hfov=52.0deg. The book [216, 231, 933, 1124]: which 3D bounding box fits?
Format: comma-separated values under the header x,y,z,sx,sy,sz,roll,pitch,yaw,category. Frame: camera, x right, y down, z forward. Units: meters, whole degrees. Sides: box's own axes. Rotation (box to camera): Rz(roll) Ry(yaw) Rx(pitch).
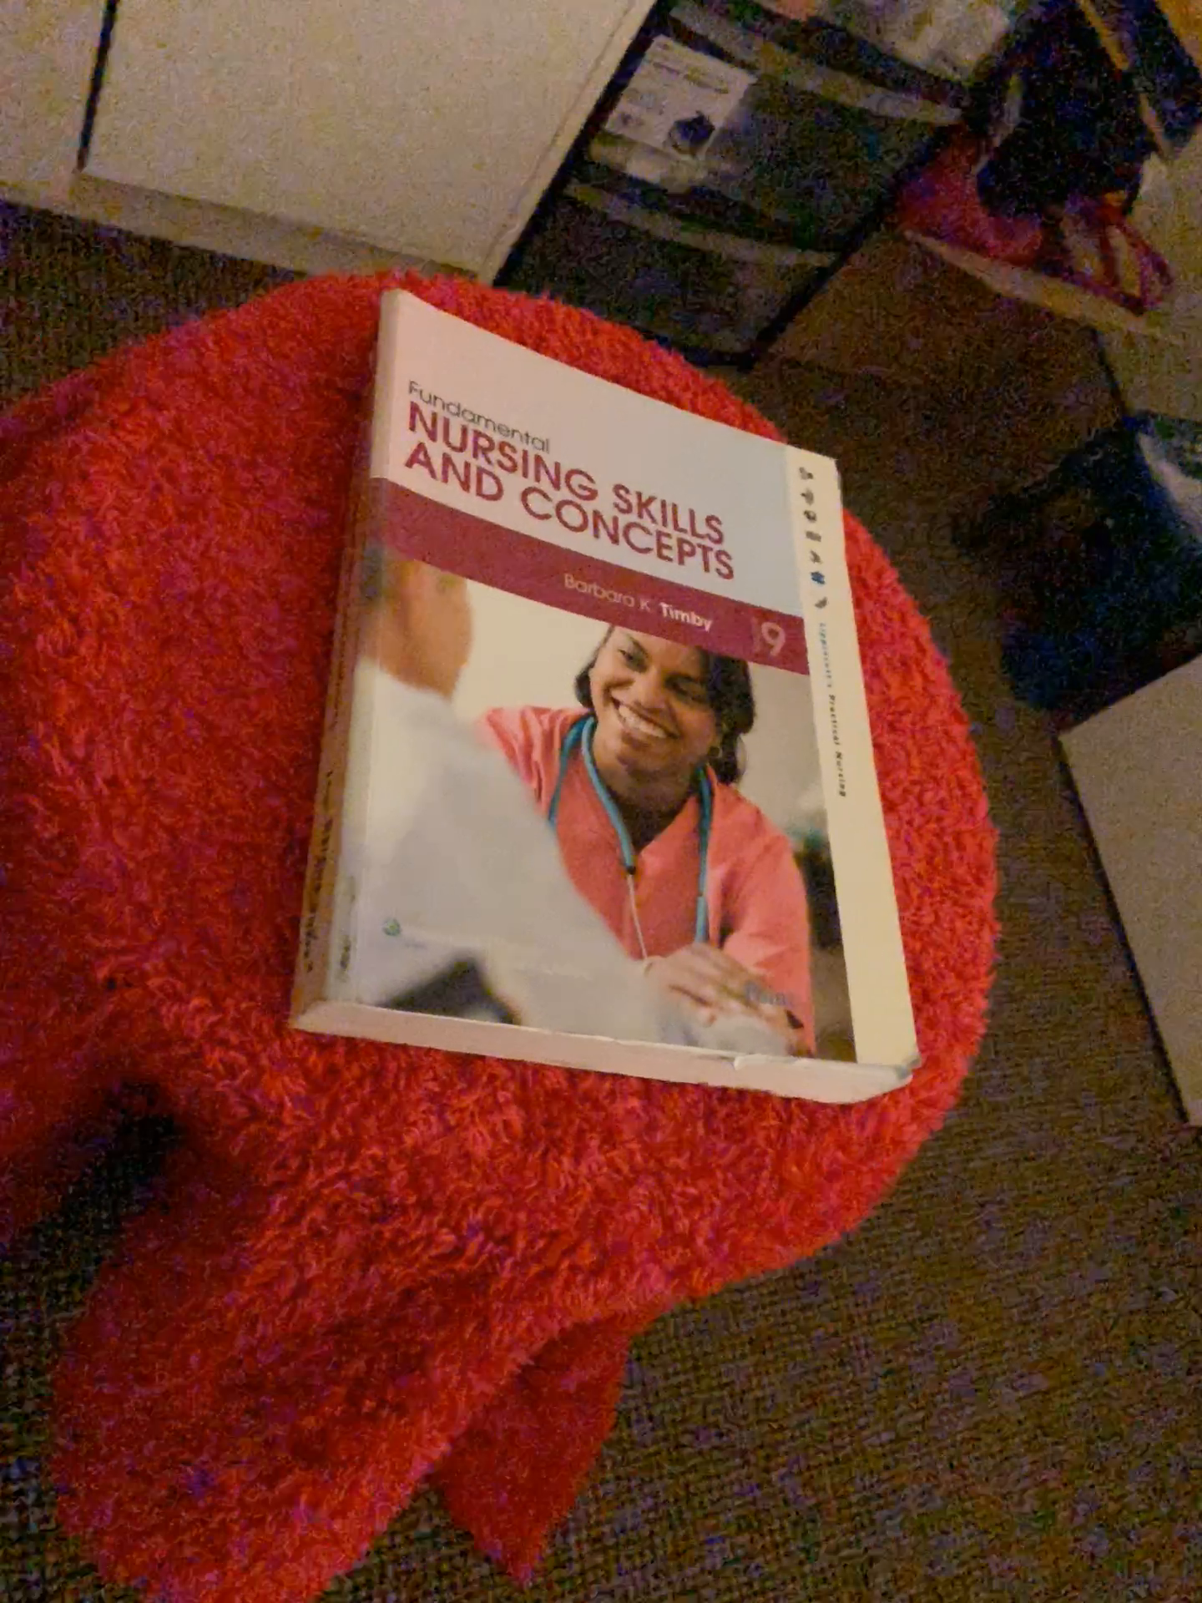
x,y,z,sx,sy,sz,roll,pitch,yaw,category
-0.004,-0.045,0.475,0.231,0.069,0.301,13,60,-26,book
